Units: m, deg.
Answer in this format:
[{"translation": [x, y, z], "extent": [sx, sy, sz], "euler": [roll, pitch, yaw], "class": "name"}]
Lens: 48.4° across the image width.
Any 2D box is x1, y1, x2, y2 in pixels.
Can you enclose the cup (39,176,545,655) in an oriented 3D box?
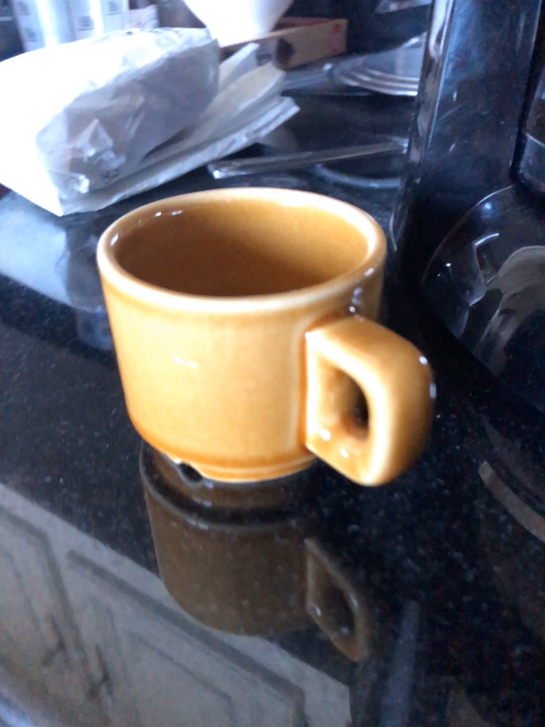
[{"translation": [0.001, -0.002, 0.147], "extent": [0.070, 0.050, 0.100], "euler": [-24, 39, -30], "class": "cup"}]
